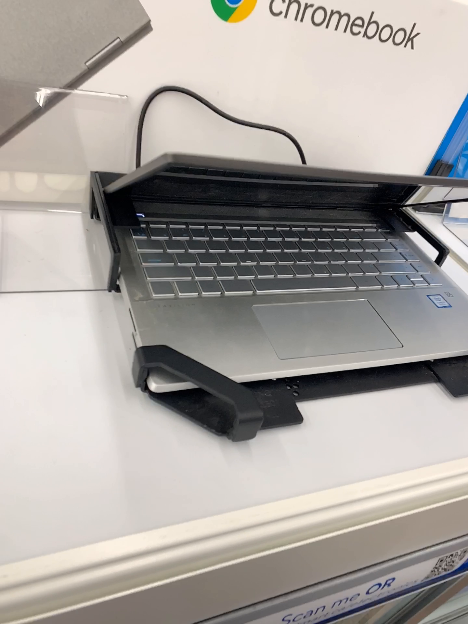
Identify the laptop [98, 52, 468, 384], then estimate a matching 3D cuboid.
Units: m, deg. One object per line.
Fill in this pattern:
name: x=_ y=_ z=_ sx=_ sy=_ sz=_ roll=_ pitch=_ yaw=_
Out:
laptop: x=0.068 y=-0.074 z=0.346 sx=0.284 sy=0.111 sz=0.194 roll=-3 pitch=44 yaw=-22
